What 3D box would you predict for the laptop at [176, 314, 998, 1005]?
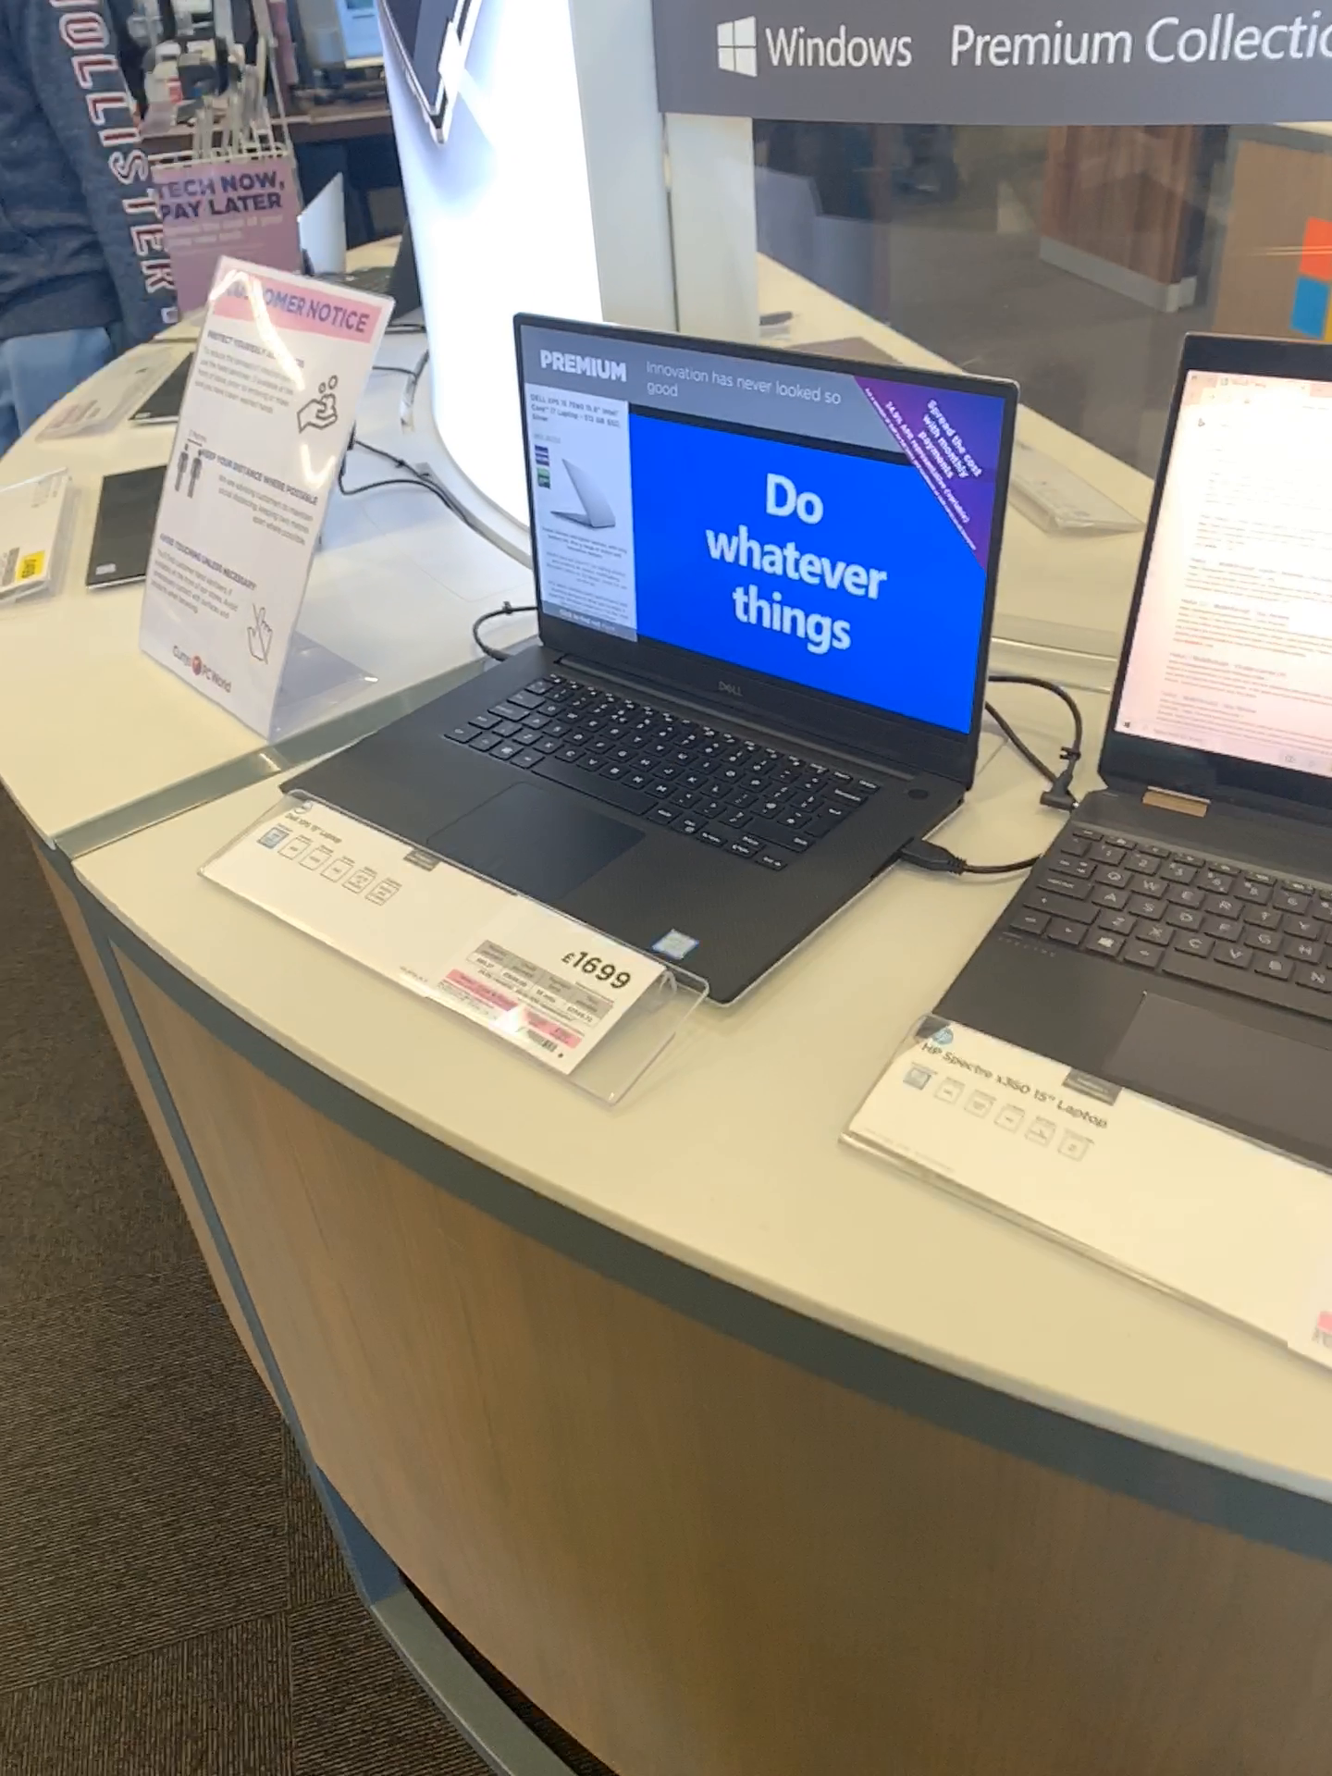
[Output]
[{"bbox_3d":[-0.038,-0.156,0.767,0.352,0.224,0.254,23,44,34],"label":"laptop"}]
